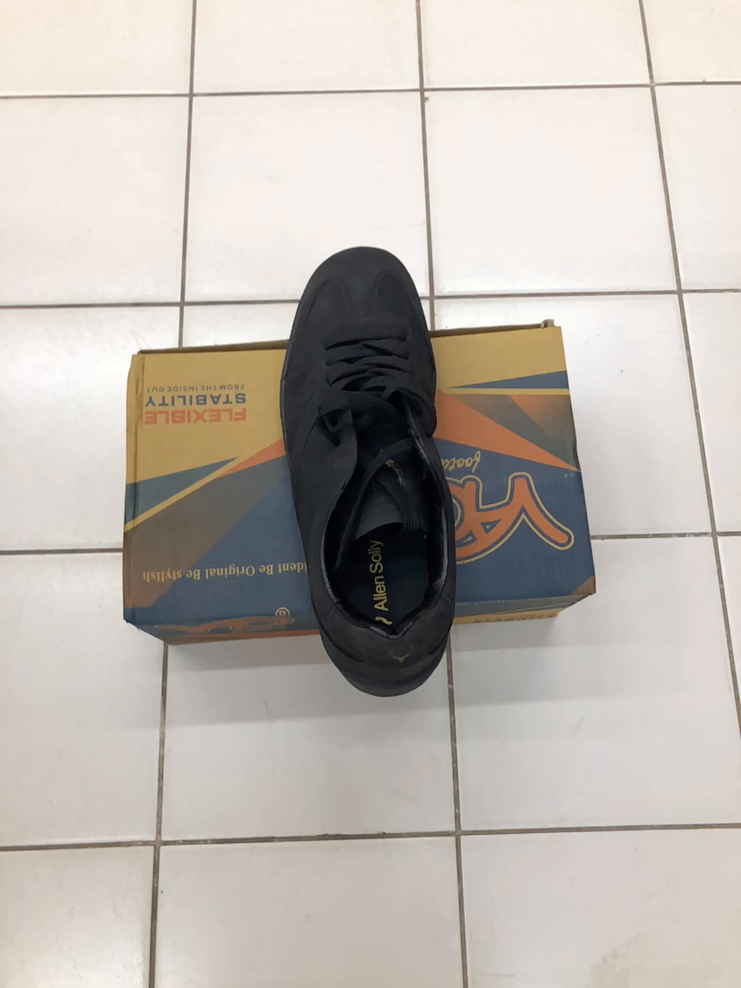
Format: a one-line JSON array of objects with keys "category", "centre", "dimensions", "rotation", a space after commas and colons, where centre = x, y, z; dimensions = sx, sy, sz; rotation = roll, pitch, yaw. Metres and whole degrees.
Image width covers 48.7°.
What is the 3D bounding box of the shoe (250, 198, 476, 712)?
[{"category": "shoe", "centre": [-0.009, -0.021, 0.443], "dimensions": [0.090, 0.080, 0.260], "rotation": [-5, 74, -2]}]
